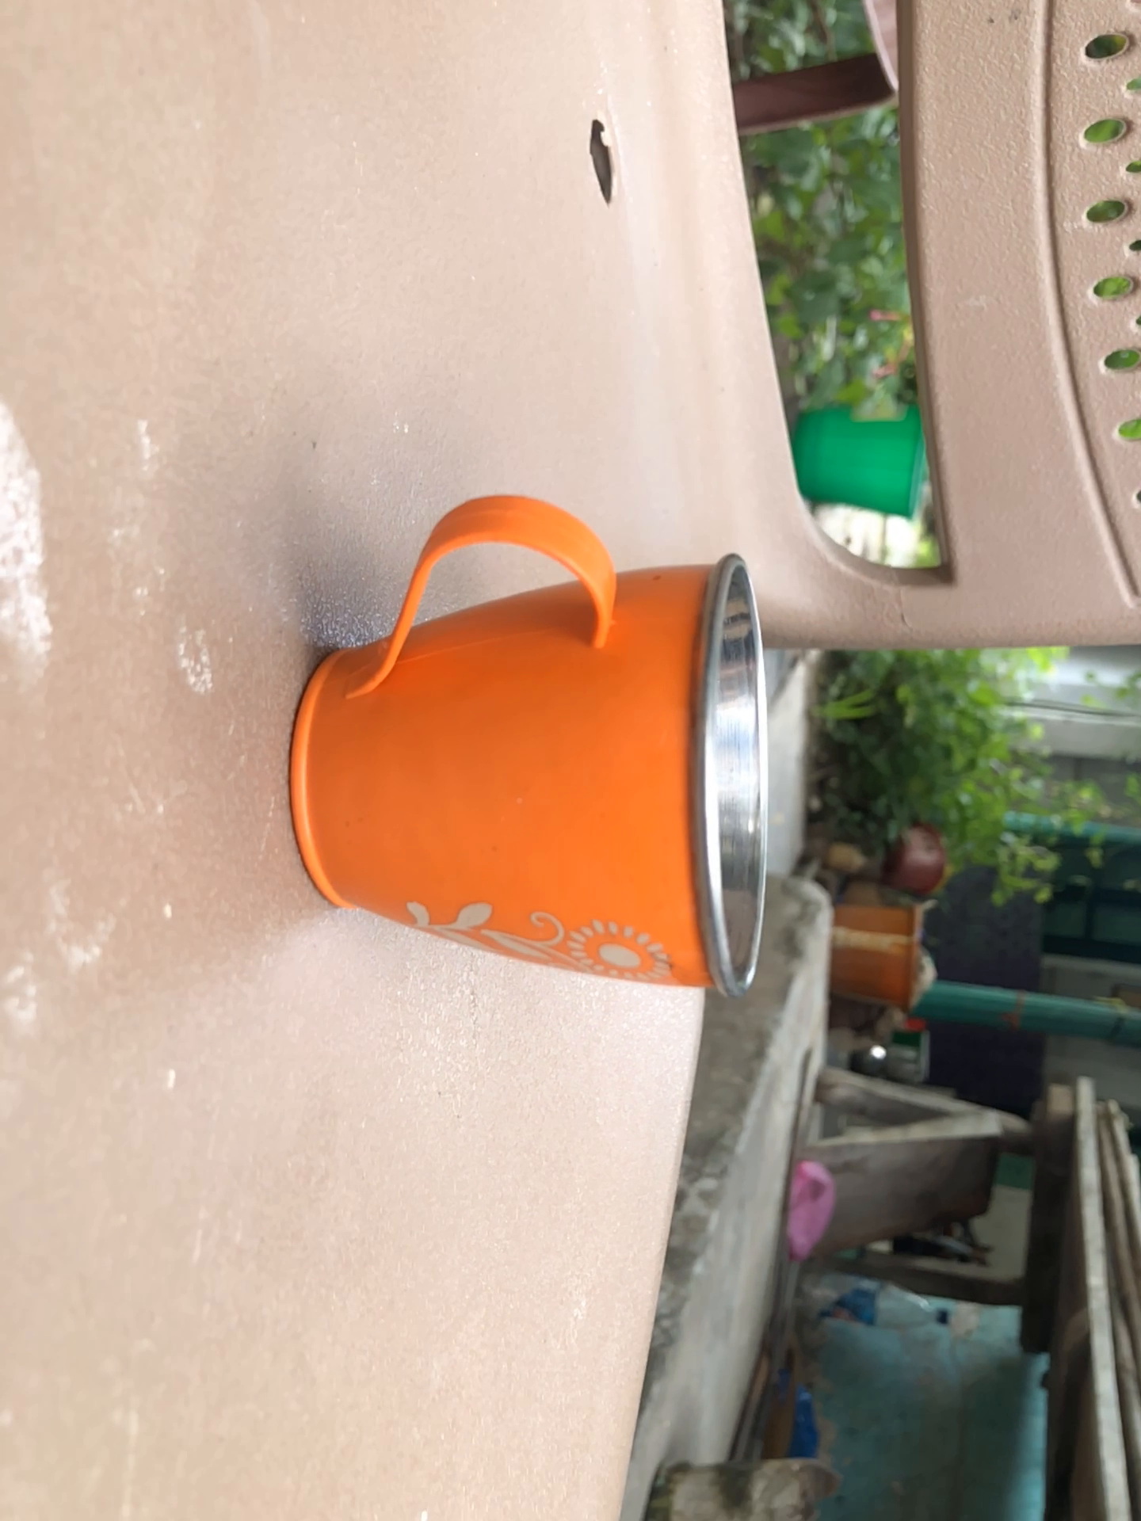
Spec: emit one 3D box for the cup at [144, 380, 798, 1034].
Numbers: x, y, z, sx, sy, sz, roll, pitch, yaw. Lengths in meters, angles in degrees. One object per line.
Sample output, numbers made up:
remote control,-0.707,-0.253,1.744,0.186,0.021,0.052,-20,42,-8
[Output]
cup,-0.004,-0.004,0.177,0.080,0.060,0.050,69,31,-57
